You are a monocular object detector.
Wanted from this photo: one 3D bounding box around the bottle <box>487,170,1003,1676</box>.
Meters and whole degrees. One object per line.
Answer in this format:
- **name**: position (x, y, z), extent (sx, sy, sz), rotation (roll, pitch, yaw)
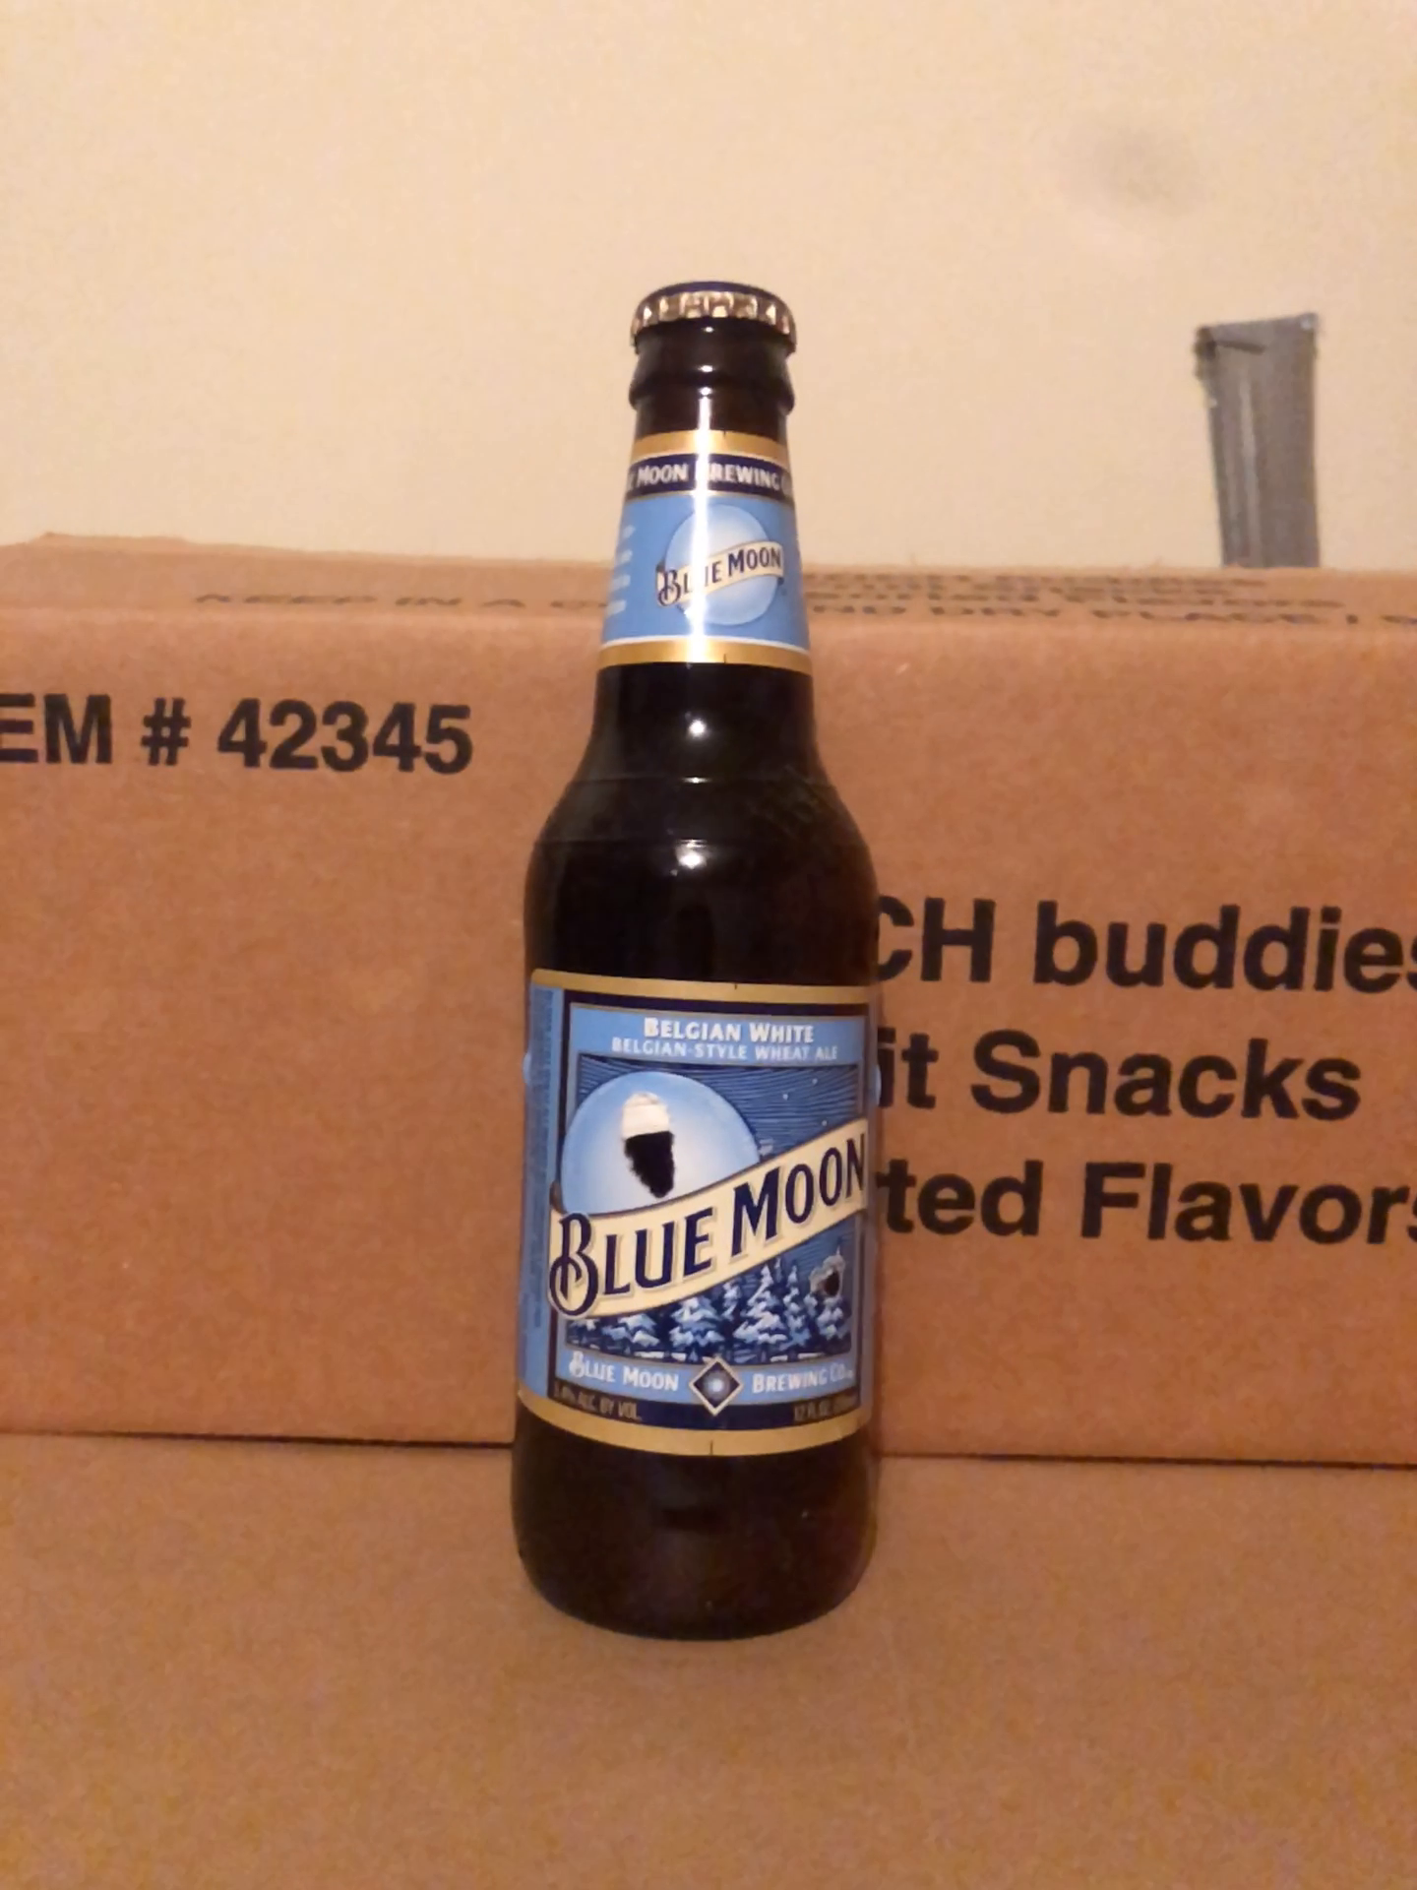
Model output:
- **bottle**: position (0.002, -0.002, 0.253), extent (0.070, 0.210, 0.060), rotation (0, 5, -4)
